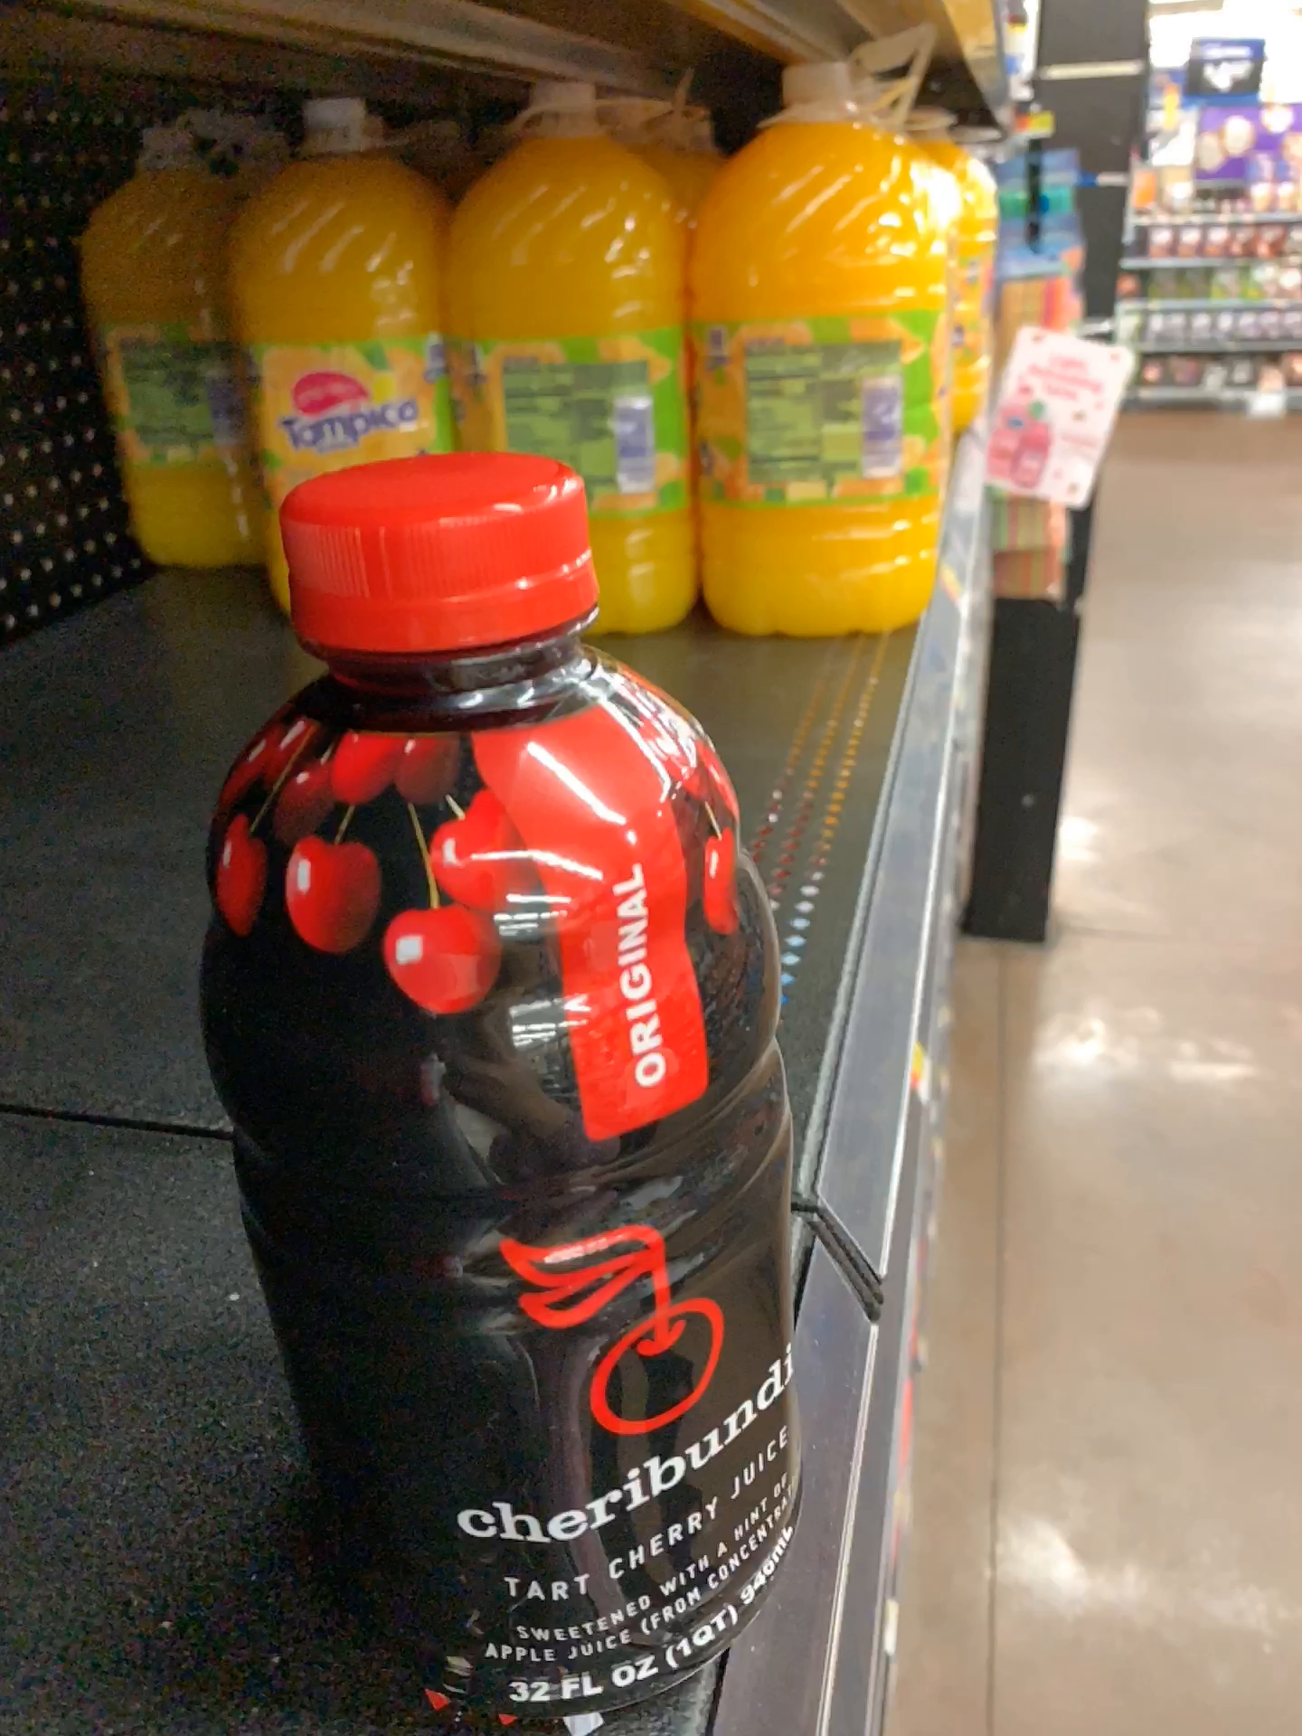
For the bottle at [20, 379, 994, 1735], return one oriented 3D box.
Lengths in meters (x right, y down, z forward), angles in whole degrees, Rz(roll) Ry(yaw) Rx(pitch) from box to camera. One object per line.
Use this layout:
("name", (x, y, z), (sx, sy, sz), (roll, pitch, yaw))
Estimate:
("bottle", (-0.019, 0.037, 0.221), (0.095, 0.204, 0.090), (-2, 27, 1))
